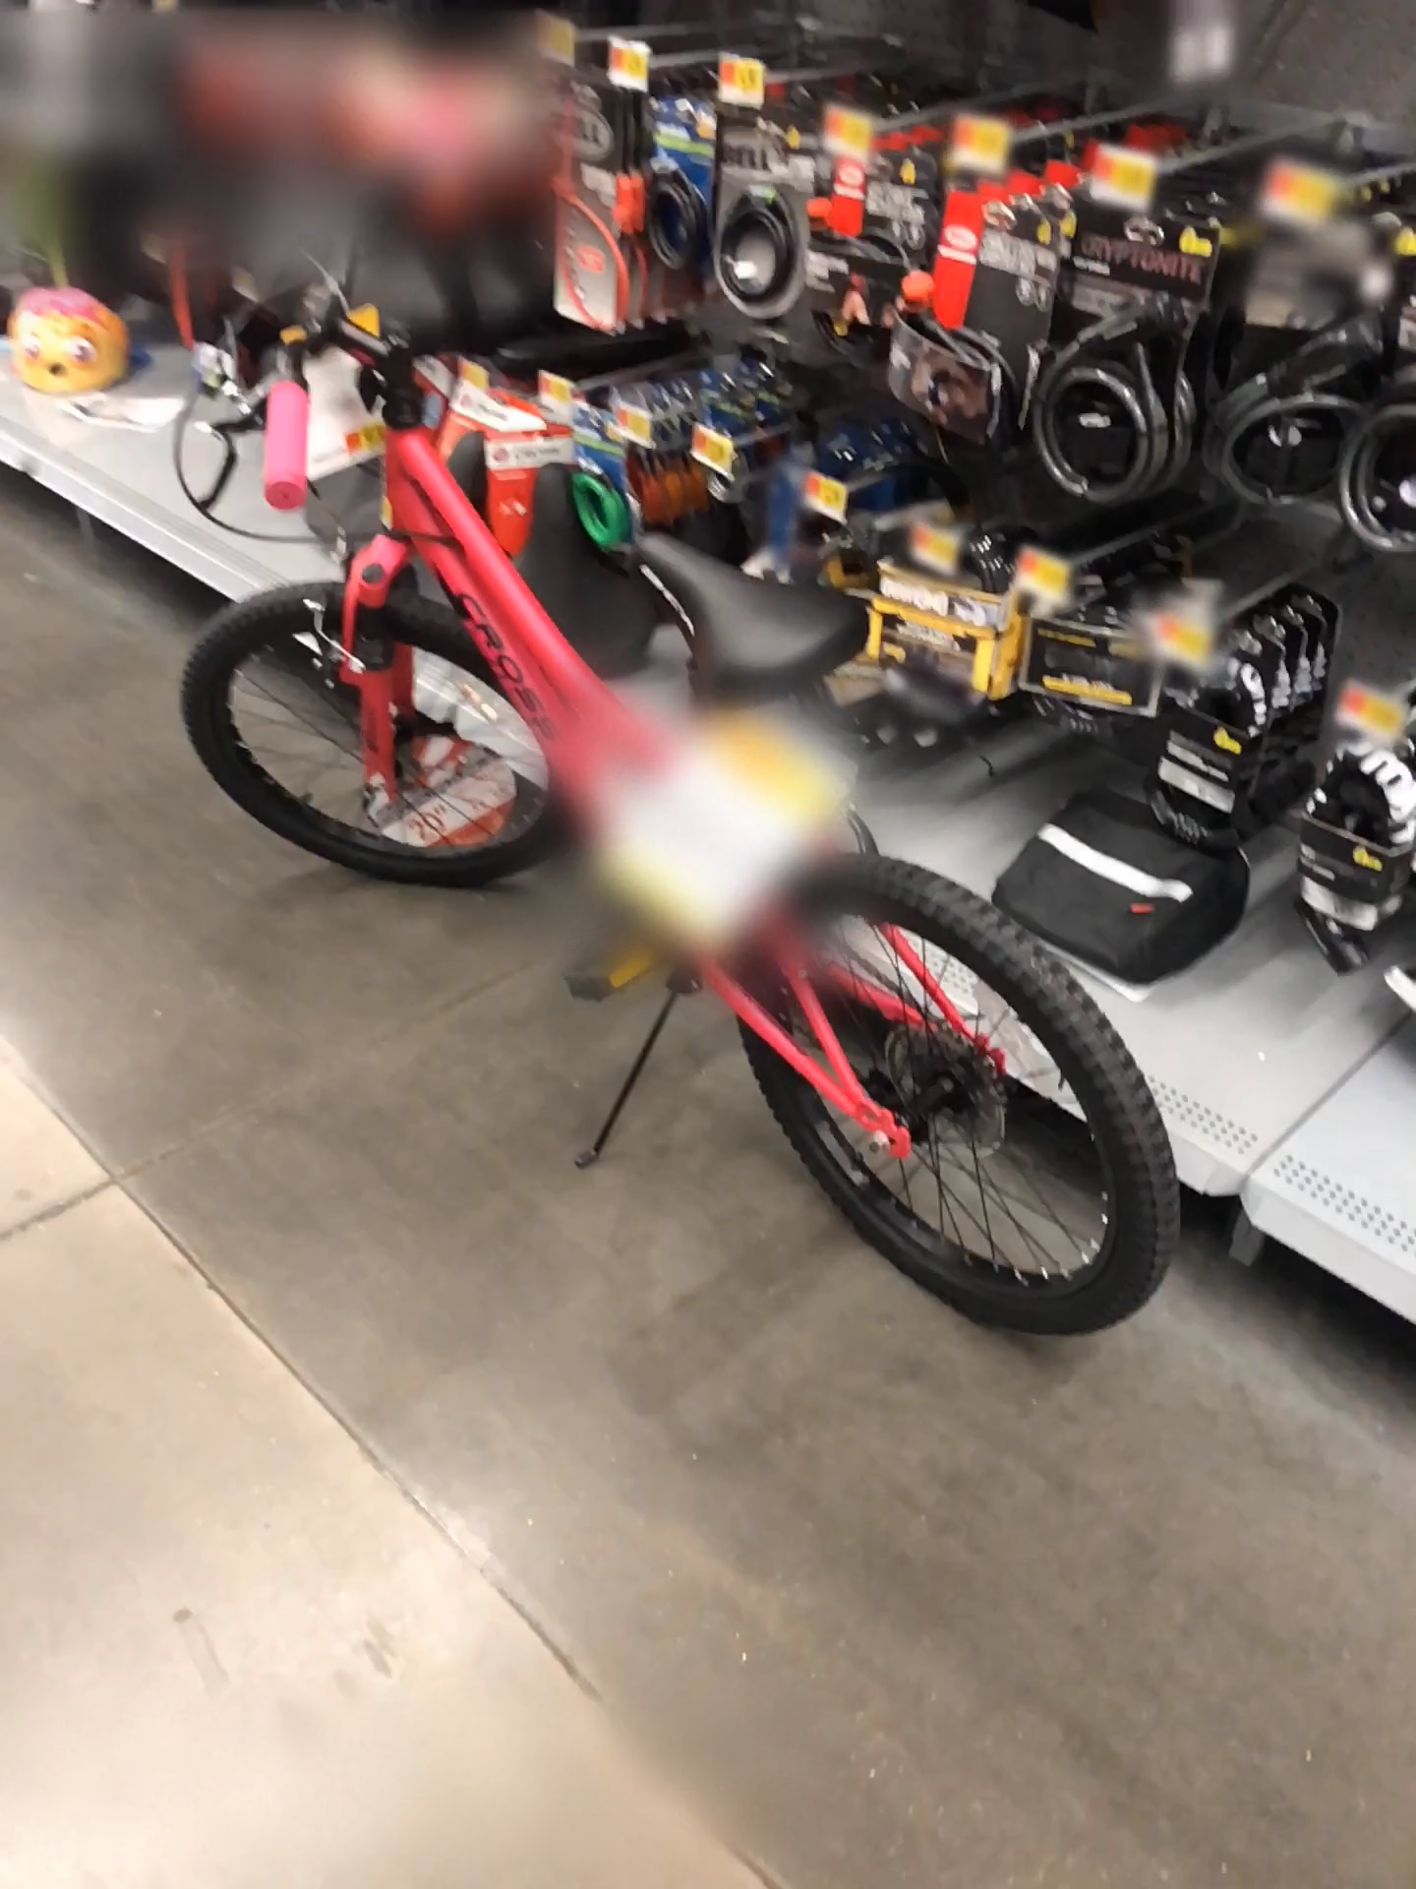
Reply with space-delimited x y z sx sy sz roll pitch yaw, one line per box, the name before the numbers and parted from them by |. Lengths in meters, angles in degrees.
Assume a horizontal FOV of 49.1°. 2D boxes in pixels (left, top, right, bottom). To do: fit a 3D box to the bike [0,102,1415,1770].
bike | -0.179 -0.128 1.330 1.226 0.877 0.609 28 44 31
